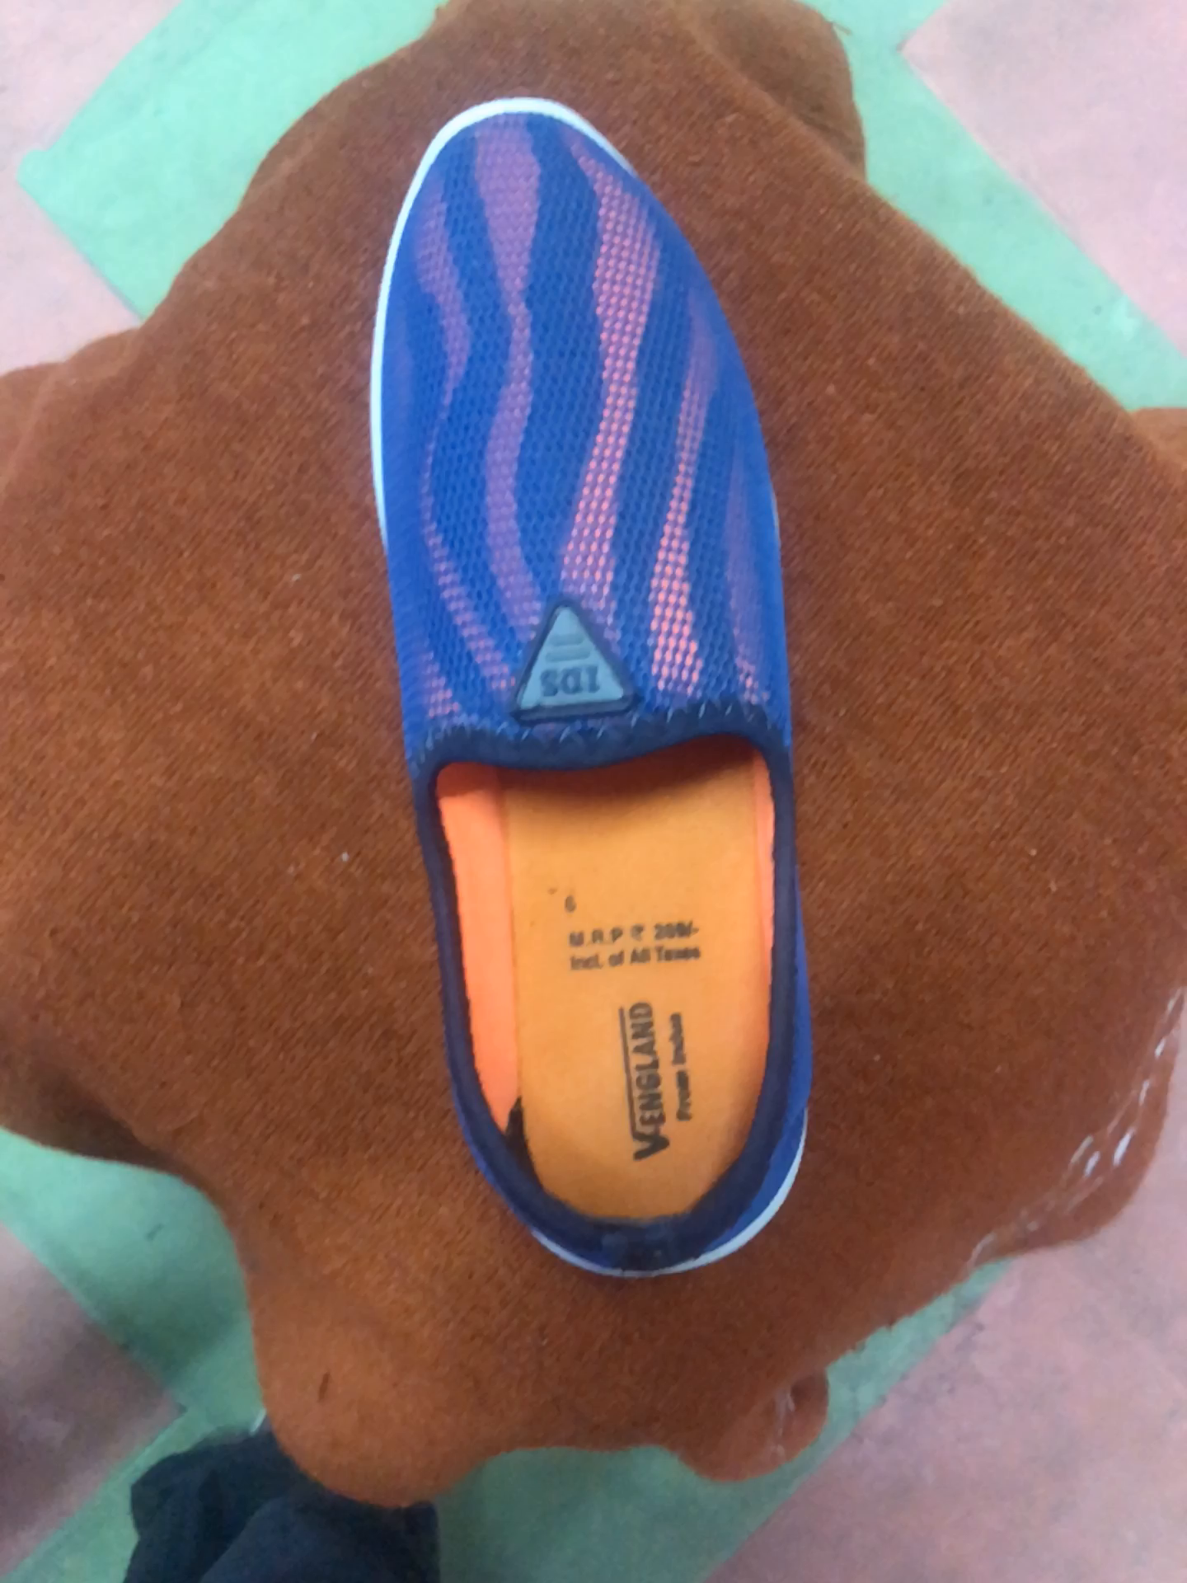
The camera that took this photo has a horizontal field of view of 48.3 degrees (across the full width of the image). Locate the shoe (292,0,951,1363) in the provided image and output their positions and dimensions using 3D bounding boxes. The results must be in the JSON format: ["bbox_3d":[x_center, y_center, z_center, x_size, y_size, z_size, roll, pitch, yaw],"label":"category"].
[{"bbox_3d":[0.005,-0.029,0.280,0.090,0.070,0.260,-7,90,0],"label":"shoe"}]
